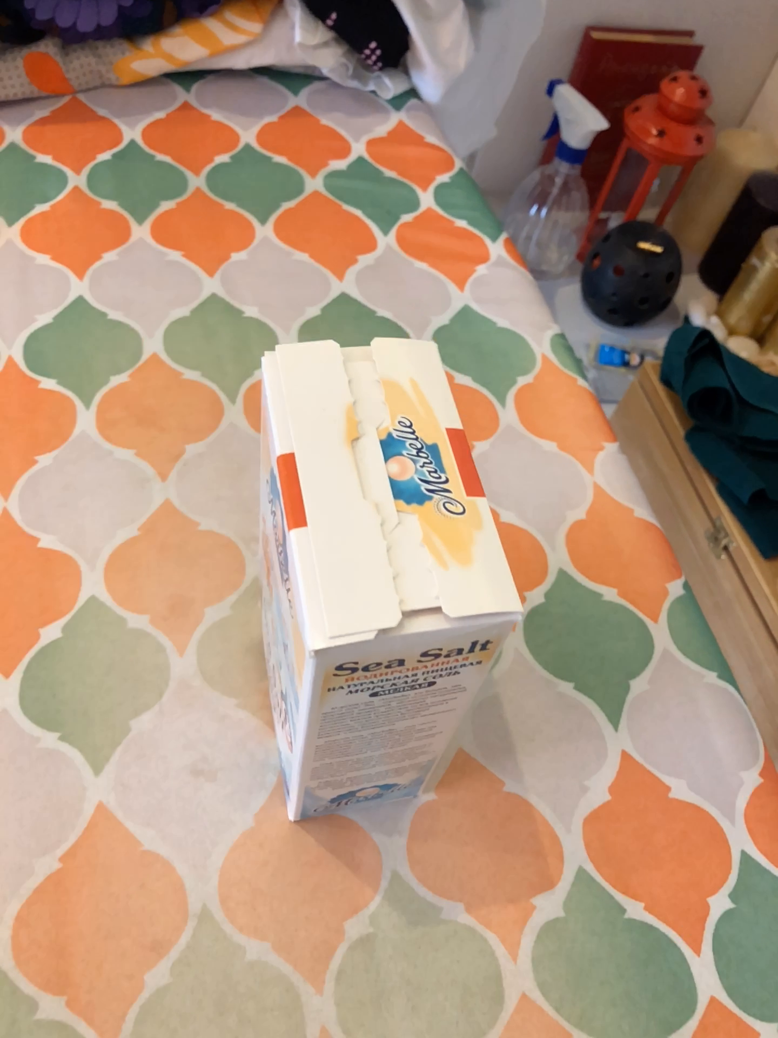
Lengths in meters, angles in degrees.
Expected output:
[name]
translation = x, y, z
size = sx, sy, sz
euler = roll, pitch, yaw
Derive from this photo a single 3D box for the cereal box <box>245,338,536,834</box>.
[cereal box]
translation = -0.014, 0.035, 0.303
size = 0.060, 0.169, 0.100
euler = -6, 59, -12
